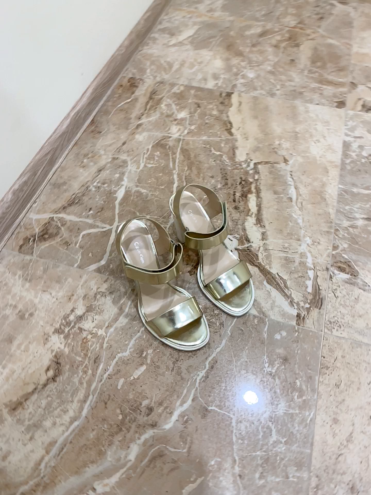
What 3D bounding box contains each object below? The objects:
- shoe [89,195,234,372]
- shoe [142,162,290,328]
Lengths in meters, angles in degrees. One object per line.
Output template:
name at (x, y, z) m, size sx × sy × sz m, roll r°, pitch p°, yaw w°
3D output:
shoe at (-0.040, 0.051, 0.579) m, size 0.095 × 0.130 × 0.221 m, roll -30°, pitch 60°, yaw -19°
shoe at (0.039, -0.009, 0.618) m, size 0.100 × 0.120 × 0.231 m, roll -31°, pitch 60°, yaw -19°
